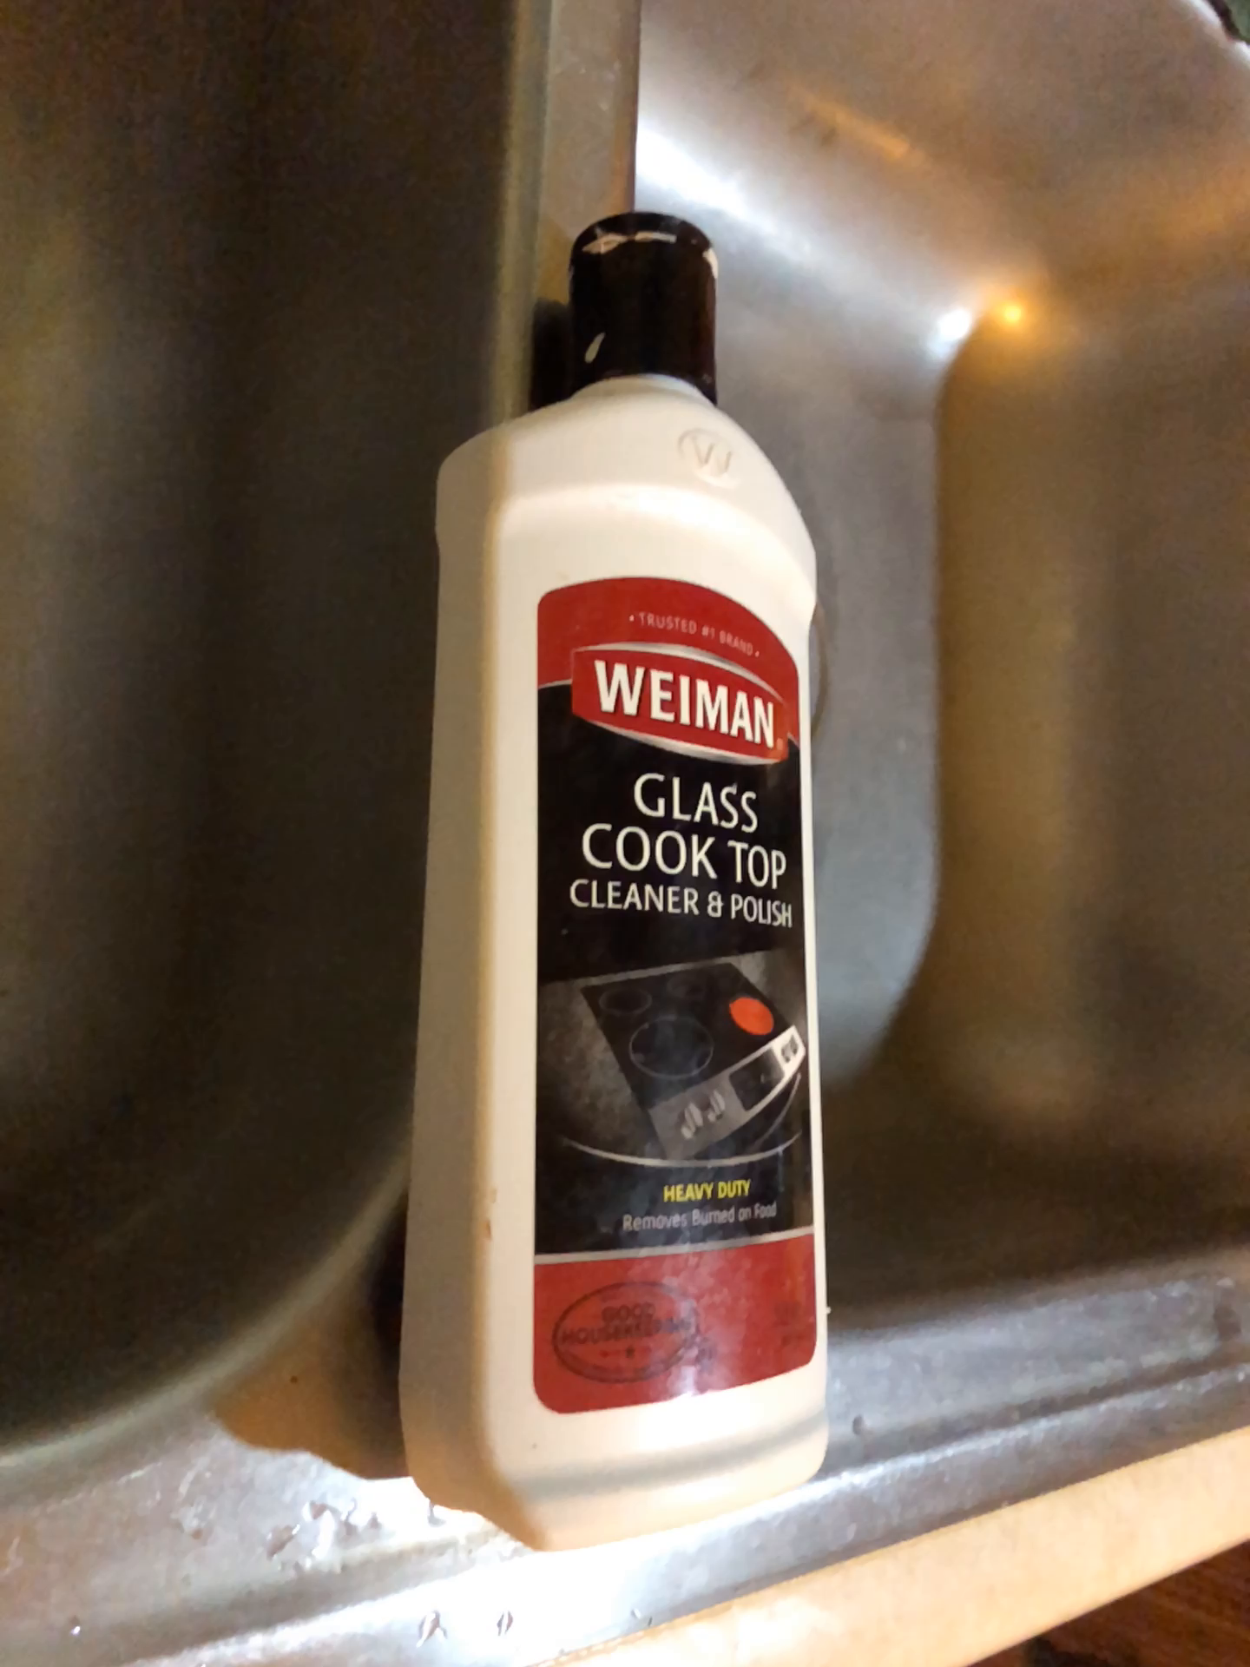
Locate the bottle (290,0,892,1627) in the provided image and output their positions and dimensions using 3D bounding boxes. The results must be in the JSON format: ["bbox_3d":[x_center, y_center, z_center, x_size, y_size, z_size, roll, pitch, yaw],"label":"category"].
[{"bbox_3d":[-0.004,-0.014,0.235,0.080,0.050,0.240,7,79,-40],"label":"bottle"}]
